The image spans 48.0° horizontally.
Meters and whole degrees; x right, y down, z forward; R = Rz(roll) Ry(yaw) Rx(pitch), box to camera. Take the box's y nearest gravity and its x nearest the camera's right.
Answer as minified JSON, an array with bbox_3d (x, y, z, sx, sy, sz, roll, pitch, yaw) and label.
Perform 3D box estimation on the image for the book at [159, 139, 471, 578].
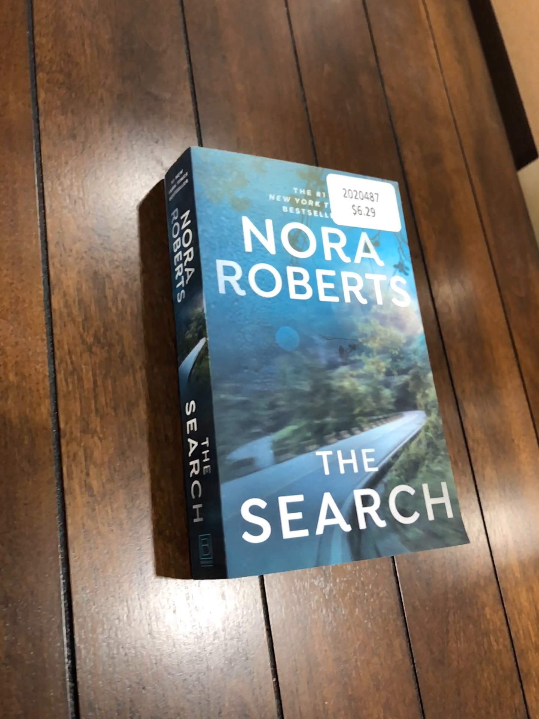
[{"bbox_3d":[0.015,0.000,0.269,0.108,0.050,0.170,2,72,-26],"label":"book"}]
